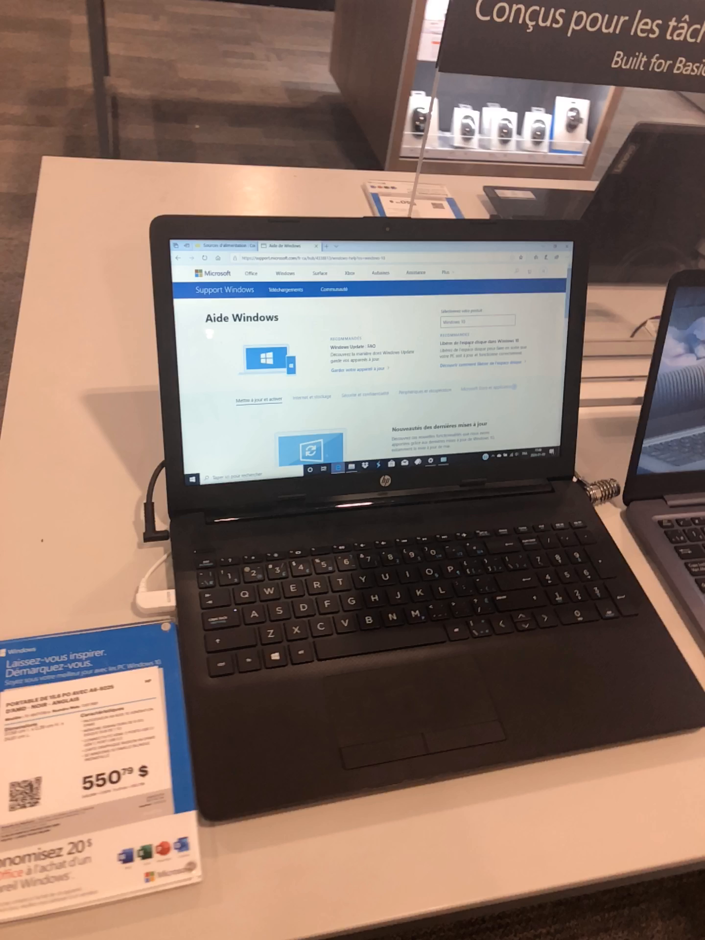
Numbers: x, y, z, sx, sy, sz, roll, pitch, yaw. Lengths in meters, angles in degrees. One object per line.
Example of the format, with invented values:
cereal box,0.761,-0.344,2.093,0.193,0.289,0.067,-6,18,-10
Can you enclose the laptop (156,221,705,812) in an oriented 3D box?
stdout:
laptop,0.057,-0.004,0.559,0.356,0.195,0.360,-5,45,-14
